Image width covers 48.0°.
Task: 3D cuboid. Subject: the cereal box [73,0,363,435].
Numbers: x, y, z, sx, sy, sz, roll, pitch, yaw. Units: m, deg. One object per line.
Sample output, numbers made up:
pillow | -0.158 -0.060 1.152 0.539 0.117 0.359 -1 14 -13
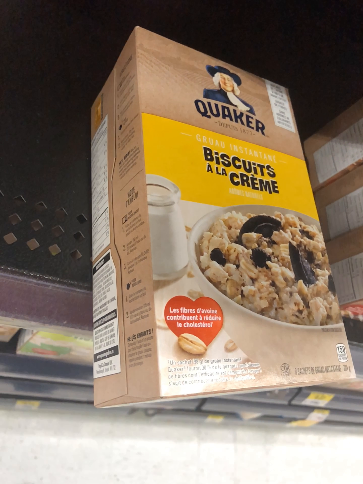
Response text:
cereal box | 0.017 -0.013 0.238 0.141 0.070 0.210 7 67 -31
